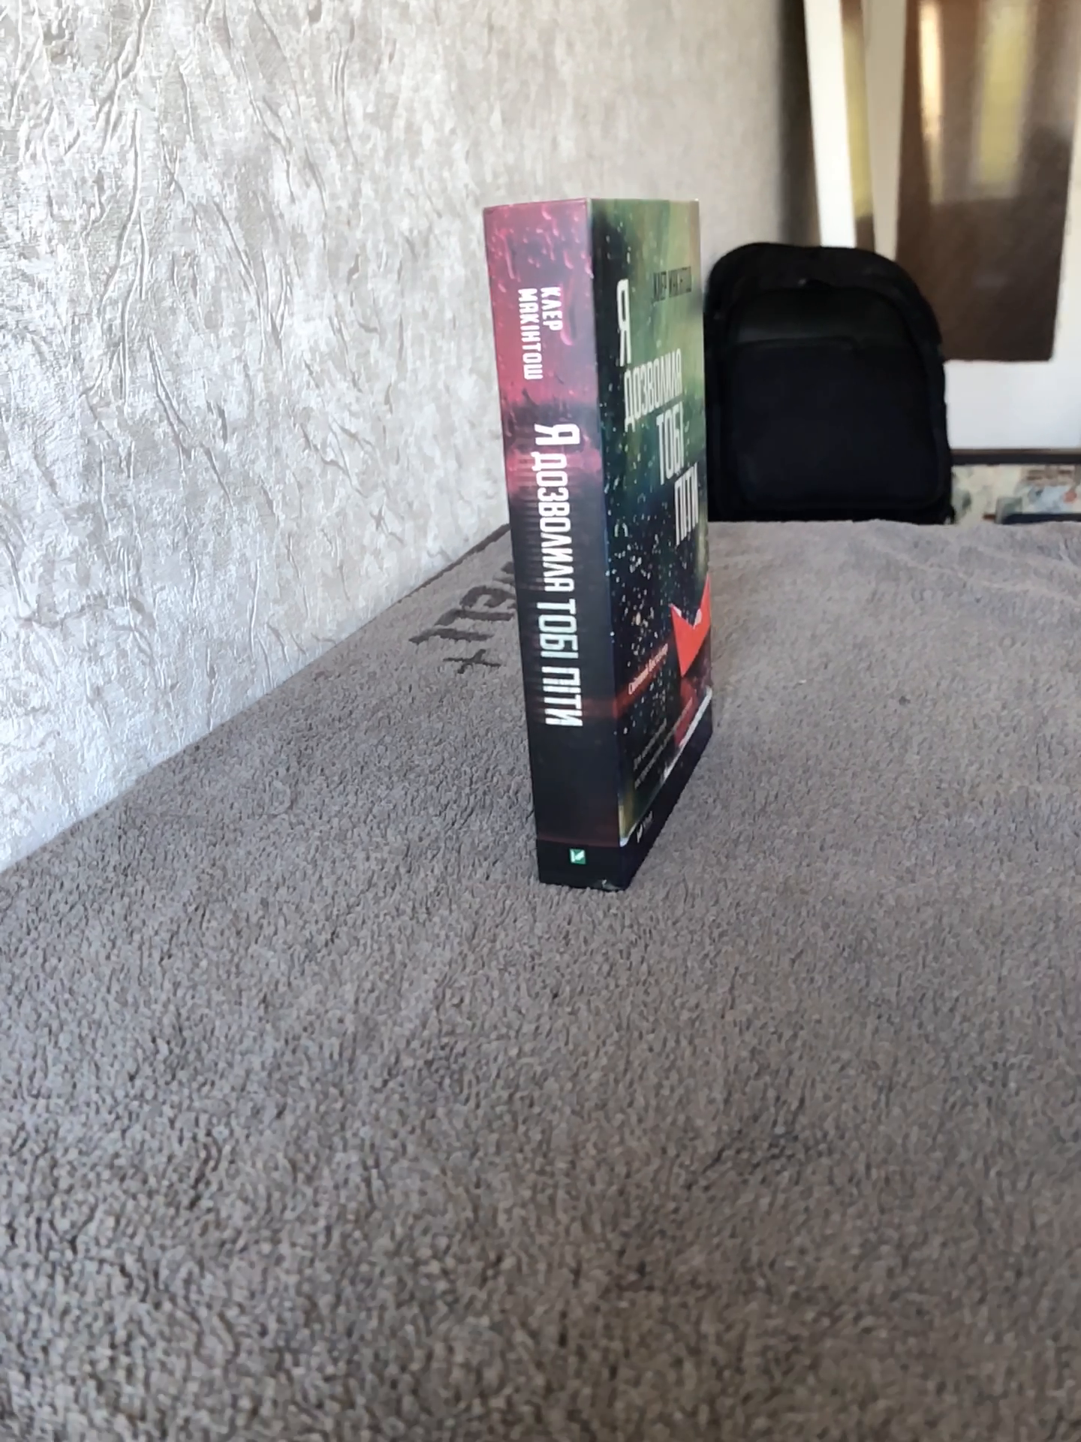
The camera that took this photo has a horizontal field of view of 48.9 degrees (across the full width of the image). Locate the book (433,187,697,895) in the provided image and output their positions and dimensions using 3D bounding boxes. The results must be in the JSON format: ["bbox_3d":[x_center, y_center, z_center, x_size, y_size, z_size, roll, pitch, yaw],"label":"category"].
[{"bbox_3d":[0.019,-0.067,0.400,0.044,0.201,0.140,2,23,16],"label":"book"}]
